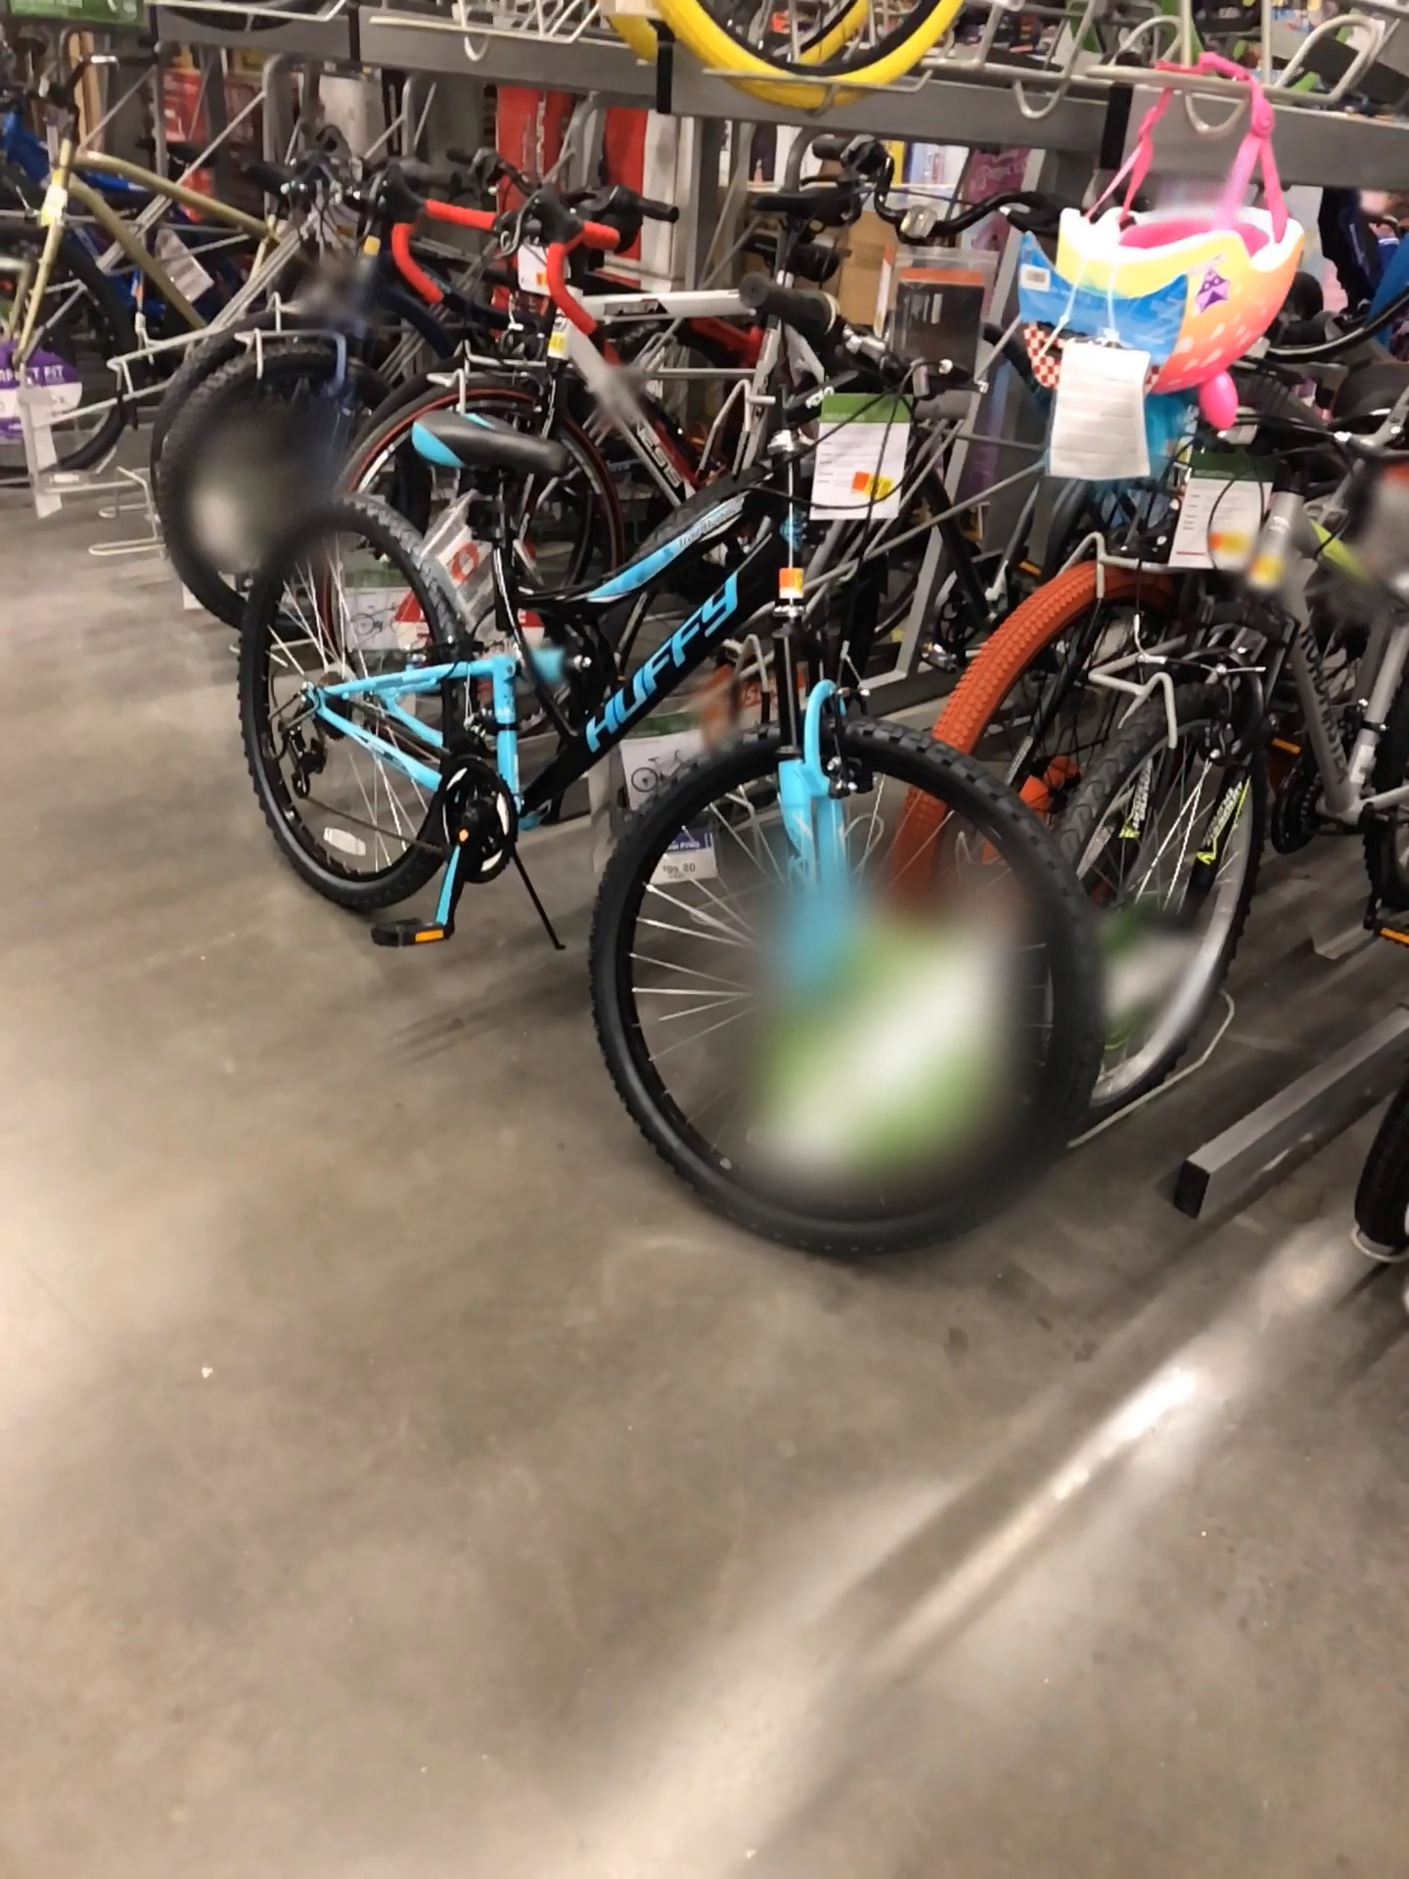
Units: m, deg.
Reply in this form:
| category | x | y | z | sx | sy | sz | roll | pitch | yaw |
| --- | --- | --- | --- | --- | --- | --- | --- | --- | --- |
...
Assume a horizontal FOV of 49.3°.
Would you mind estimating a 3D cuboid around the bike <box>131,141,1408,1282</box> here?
| category | x | y | z | sx | sy | sz | roll | pitch | yaw |
| --- | --- | --- | --- | --- | --- | --- | --- | --- | --- |
| bike | -0.021 | -0.453 | 2.199 | 1.709 | 1.121 | 0.545 | 27 | 37 | 35 |
